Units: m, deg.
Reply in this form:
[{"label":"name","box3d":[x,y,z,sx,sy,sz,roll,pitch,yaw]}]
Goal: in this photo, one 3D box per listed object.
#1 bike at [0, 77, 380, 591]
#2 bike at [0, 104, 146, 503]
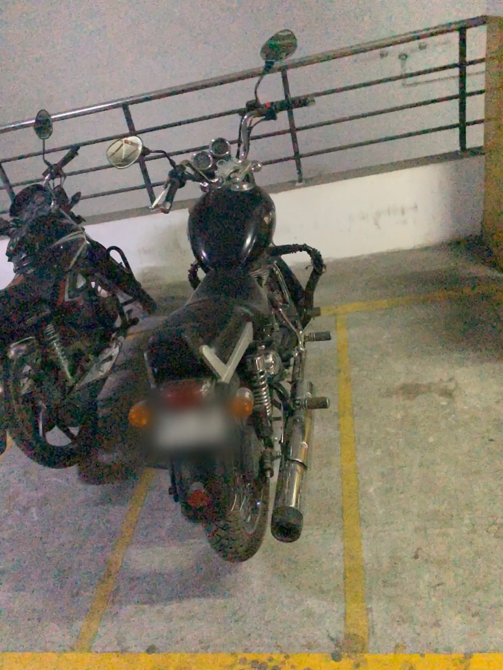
[{"label":"bike","box3d":[-0.172,-0.190,2.113,0.852,1.231,1.807,-10,32,6]},{"label":"bike","box3d":[-1.208,-0.258,2.694,0.720,1.276,1.571,-8,35,9]}]
